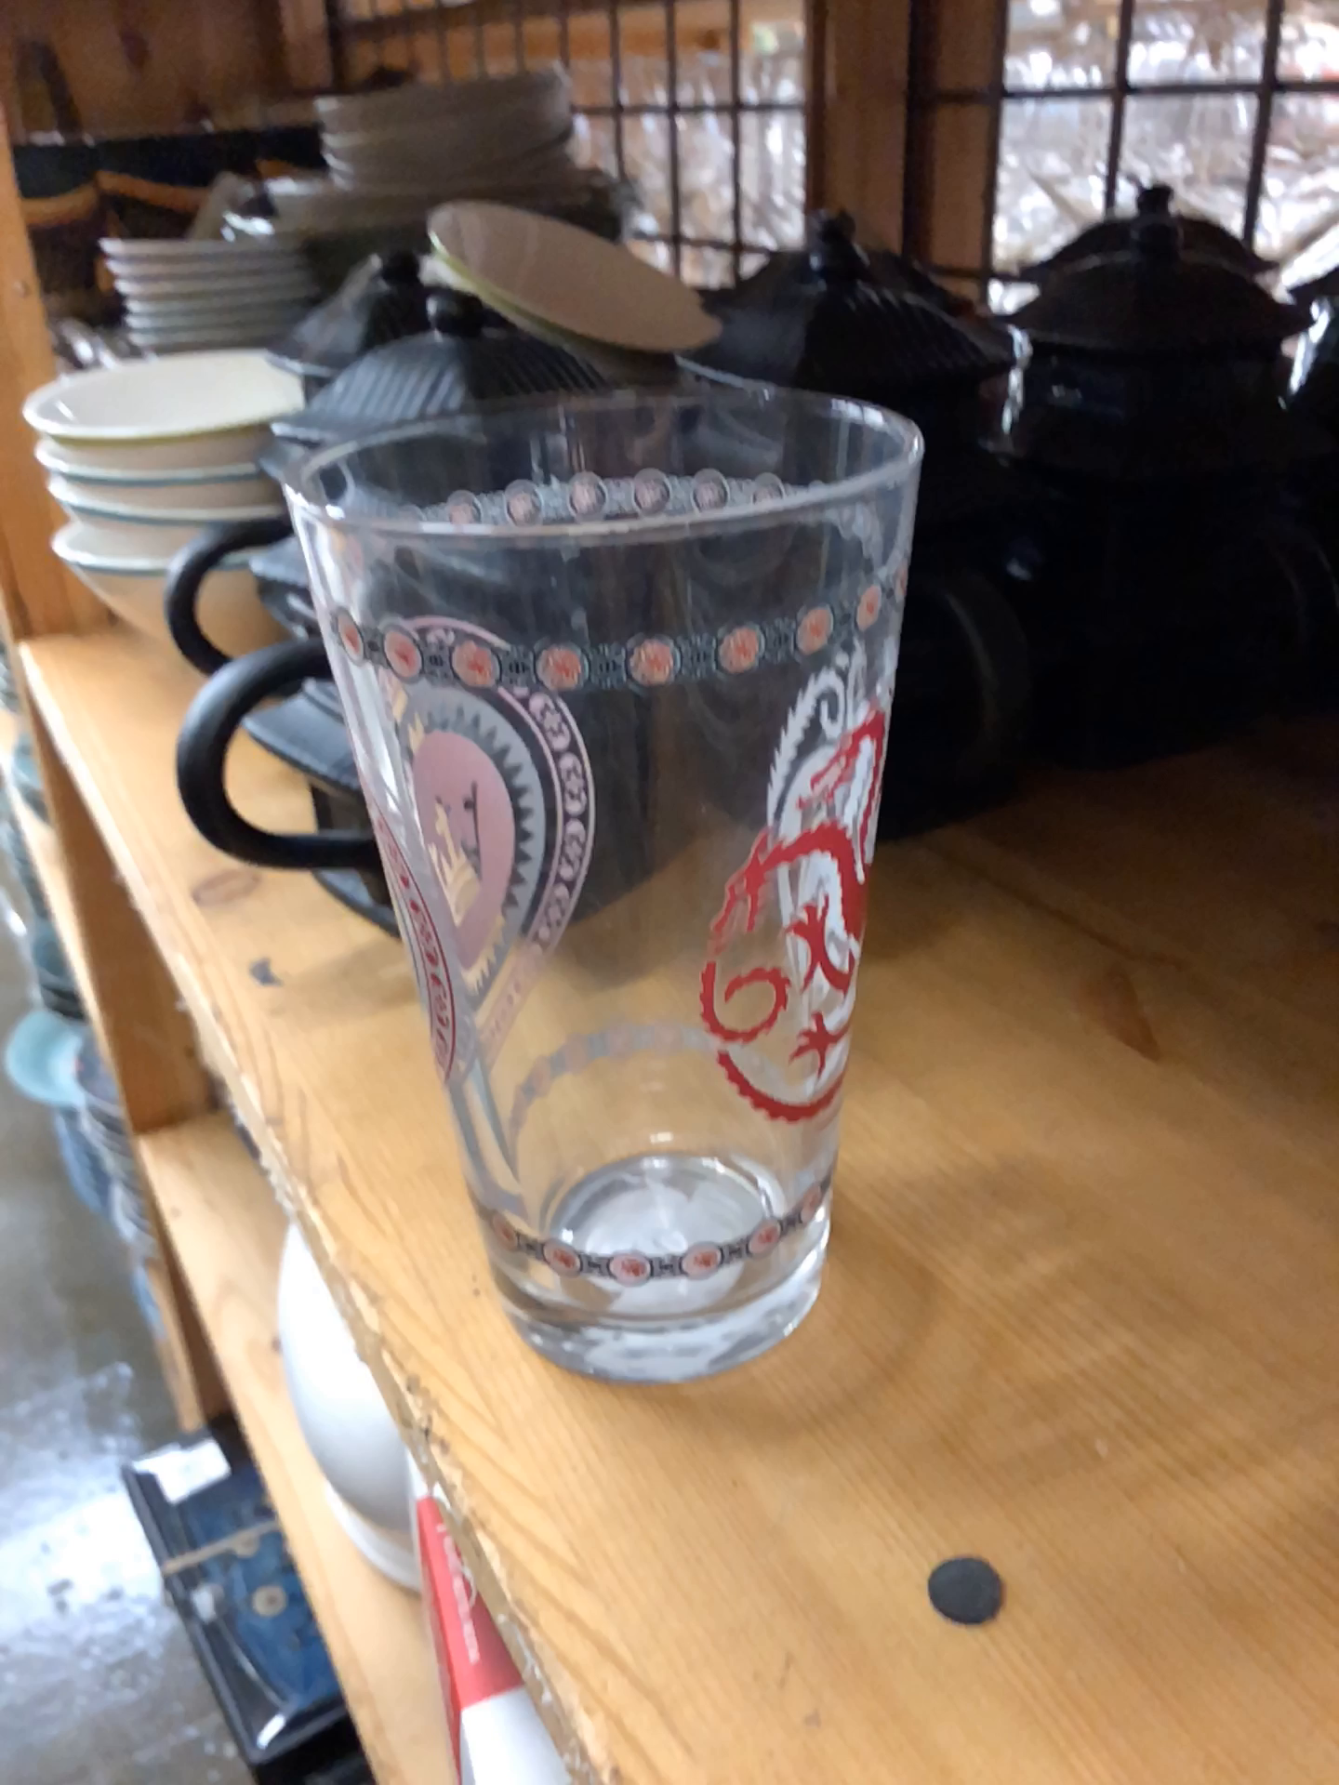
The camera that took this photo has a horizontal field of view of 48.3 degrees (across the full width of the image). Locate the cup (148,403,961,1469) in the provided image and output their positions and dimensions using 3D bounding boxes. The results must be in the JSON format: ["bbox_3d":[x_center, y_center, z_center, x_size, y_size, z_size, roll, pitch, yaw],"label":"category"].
[{"bbox_3d":[-0.006,0.000,0.231,0.084,0.132,0.085,-3,27,1],"label":"cup"}]
